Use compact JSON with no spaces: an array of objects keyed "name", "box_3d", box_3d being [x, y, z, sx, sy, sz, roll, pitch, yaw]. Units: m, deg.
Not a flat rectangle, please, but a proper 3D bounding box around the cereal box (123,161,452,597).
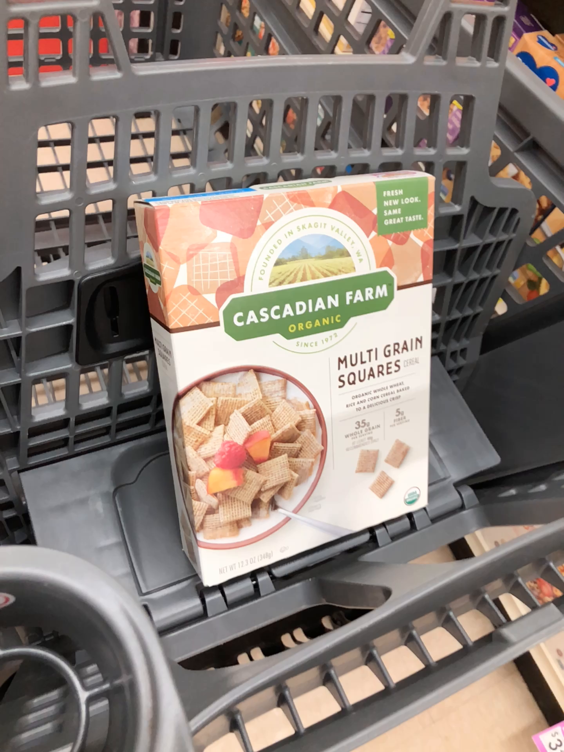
[{"name":"cereal box","box_3d":[0.016,-0.004,0.435,0.200,0.260,0.060,-14,23,-23]}]
